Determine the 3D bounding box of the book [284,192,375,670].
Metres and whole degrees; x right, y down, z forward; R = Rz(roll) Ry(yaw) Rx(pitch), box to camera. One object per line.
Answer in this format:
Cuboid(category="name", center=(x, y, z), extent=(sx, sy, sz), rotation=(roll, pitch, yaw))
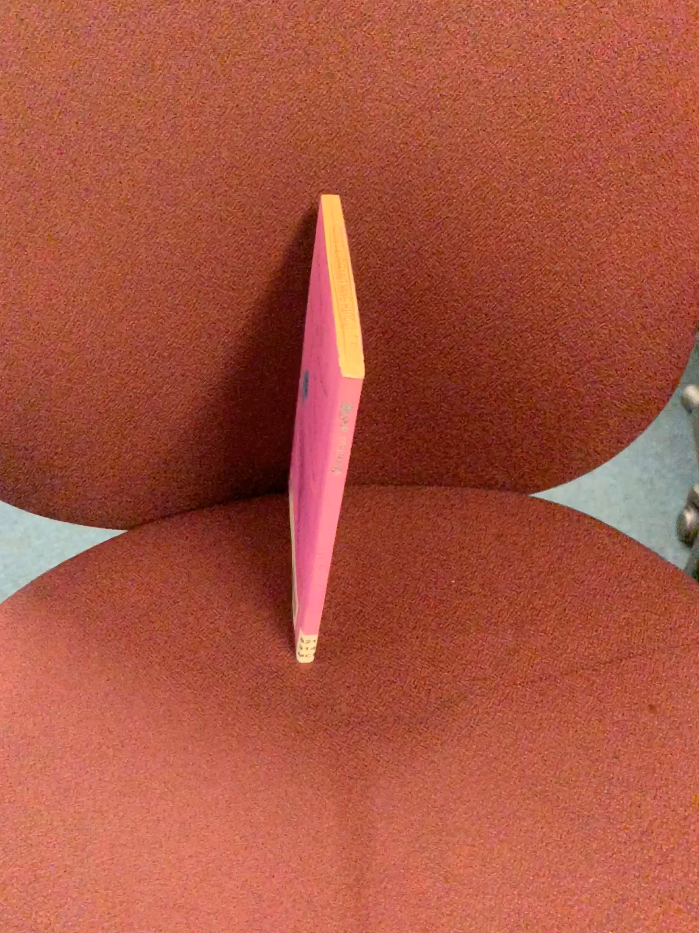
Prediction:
Cuboid(category="book", center=(-0.017, -0.012, 0.357), extent=(0.017, 0.189, 0.142), rotation=(2, 44, -8))
